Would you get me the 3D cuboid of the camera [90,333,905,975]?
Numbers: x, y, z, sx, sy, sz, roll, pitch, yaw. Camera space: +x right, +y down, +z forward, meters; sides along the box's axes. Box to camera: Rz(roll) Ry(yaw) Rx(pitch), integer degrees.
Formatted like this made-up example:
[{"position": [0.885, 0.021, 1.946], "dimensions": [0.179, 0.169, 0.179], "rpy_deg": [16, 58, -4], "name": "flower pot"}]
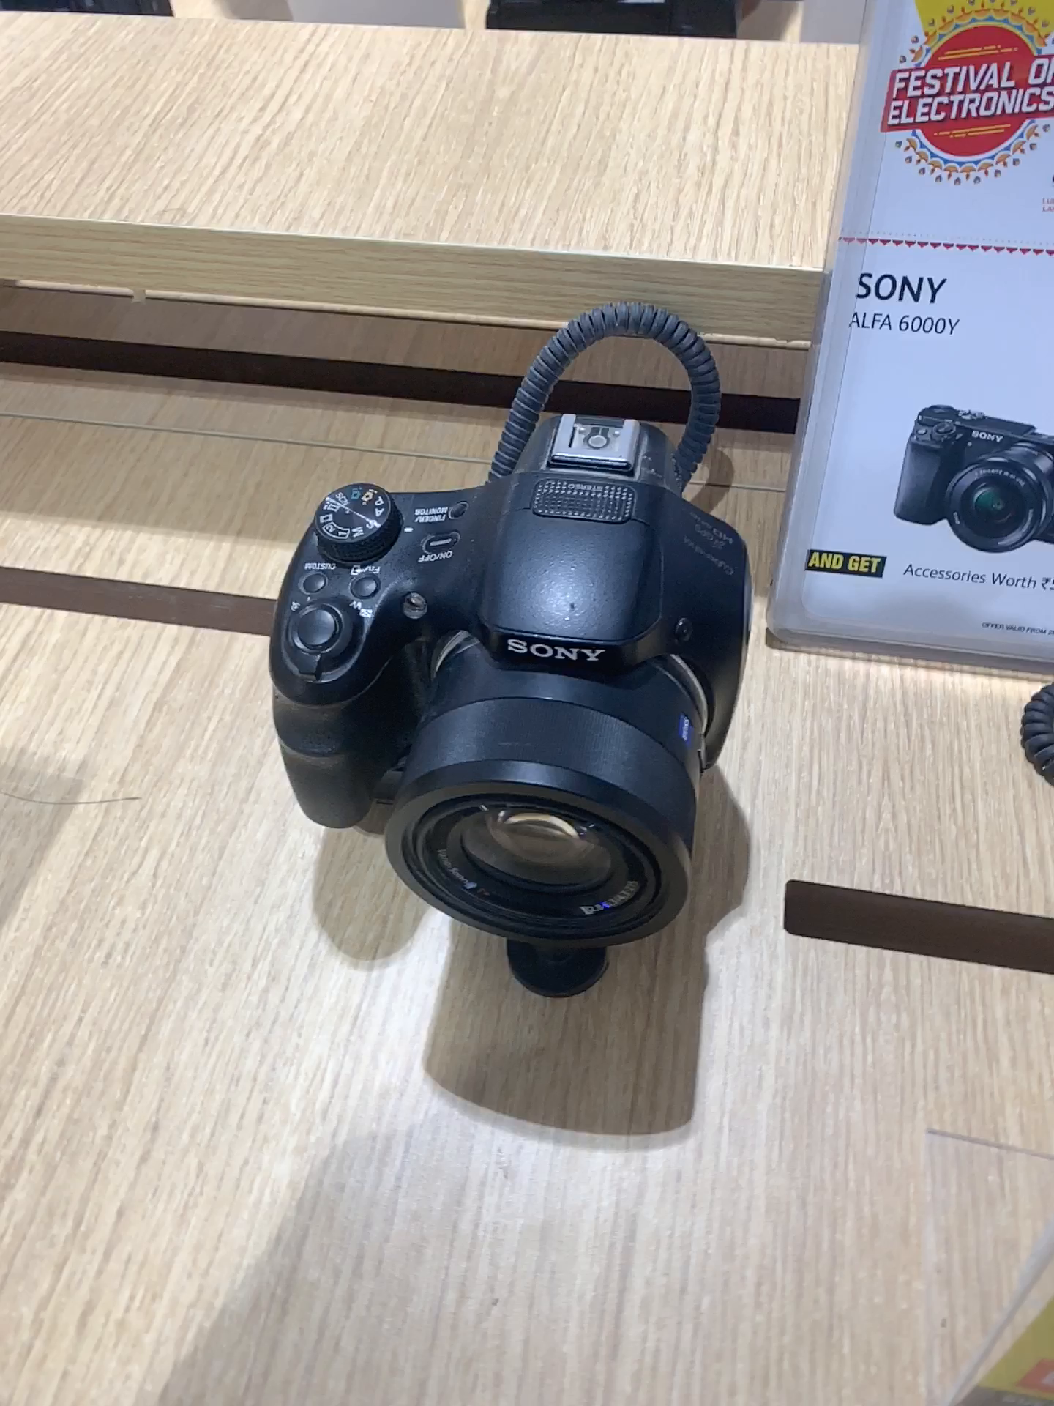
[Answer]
[{"position": [0.001, -0.010, 0.250], "dimensions": [0.140, 0.100, 0.090], "rpy_deg": [7, 53, 7], "name": "camera"}]
